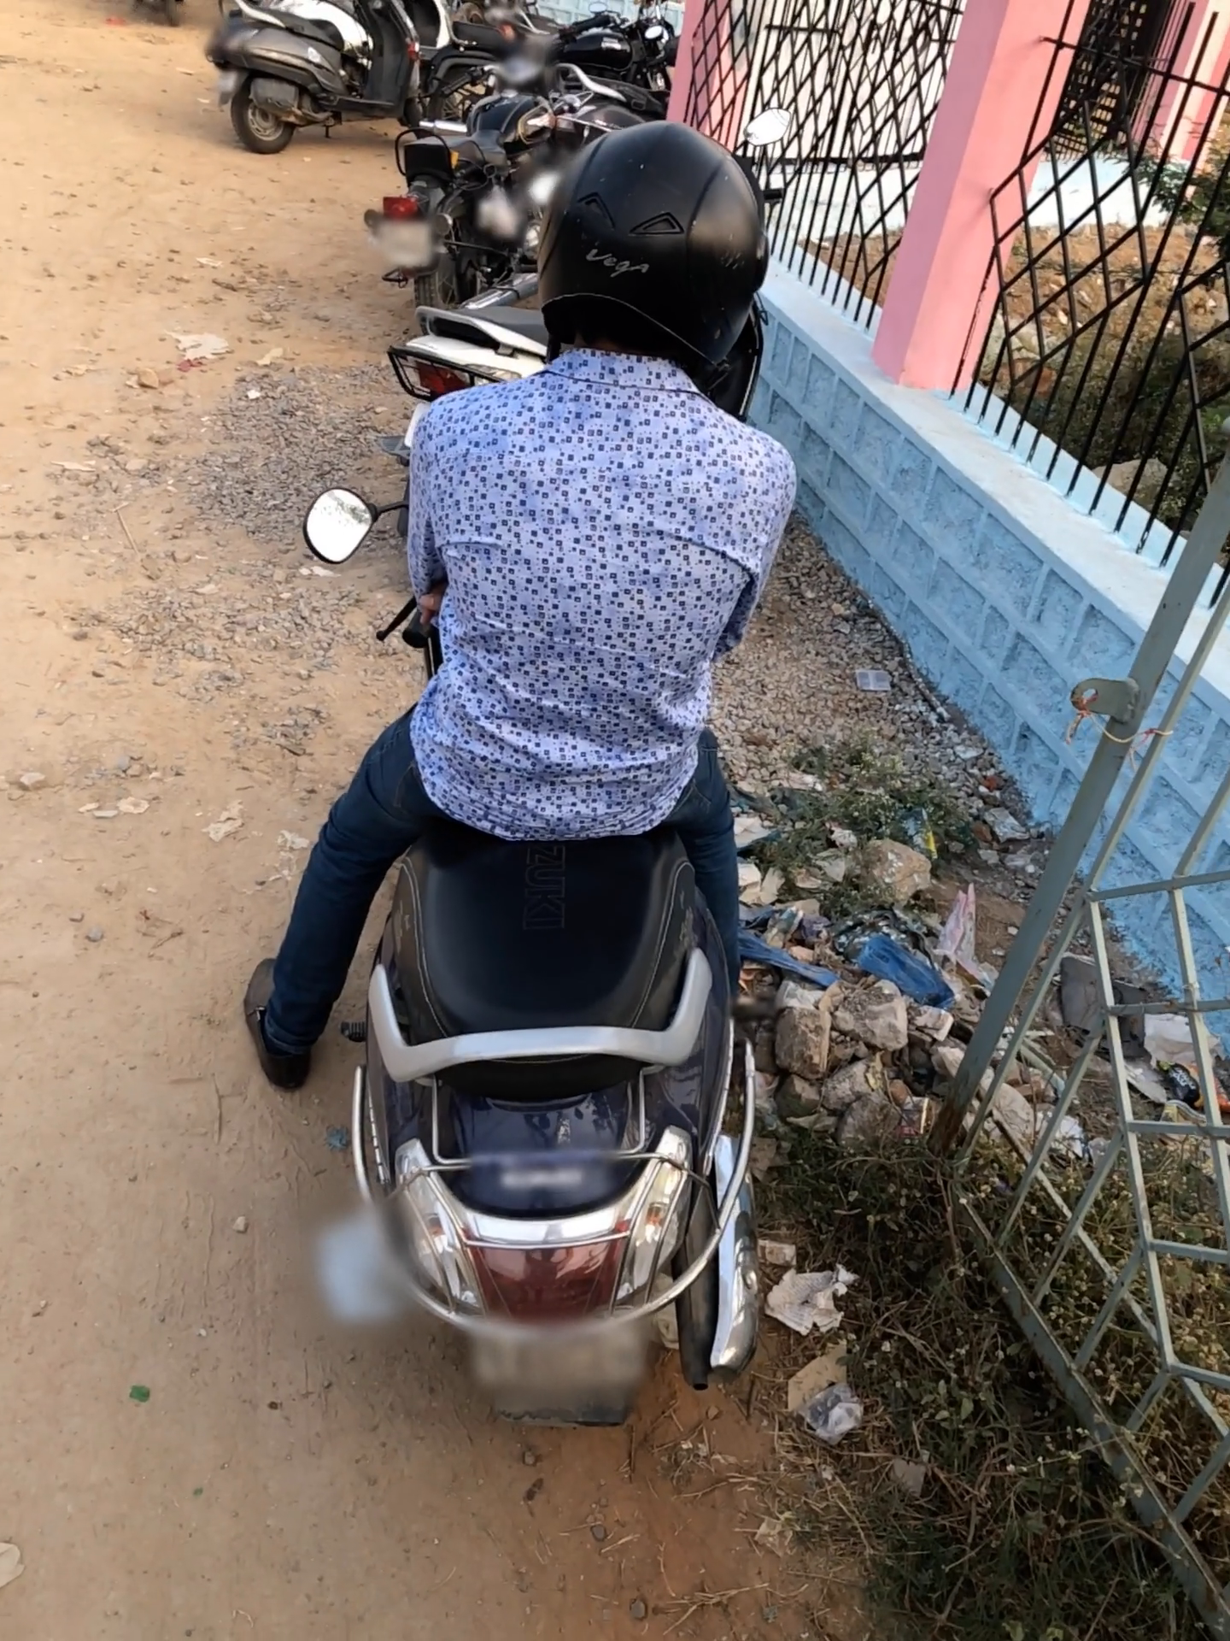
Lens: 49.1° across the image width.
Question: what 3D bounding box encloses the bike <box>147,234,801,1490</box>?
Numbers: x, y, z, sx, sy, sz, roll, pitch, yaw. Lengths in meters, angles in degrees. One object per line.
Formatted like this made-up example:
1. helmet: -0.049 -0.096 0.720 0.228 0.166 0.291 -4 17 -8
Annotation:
1. bike: -0.363 -0.015 2.019 0.593 1.014 1.399 0 41 -15
